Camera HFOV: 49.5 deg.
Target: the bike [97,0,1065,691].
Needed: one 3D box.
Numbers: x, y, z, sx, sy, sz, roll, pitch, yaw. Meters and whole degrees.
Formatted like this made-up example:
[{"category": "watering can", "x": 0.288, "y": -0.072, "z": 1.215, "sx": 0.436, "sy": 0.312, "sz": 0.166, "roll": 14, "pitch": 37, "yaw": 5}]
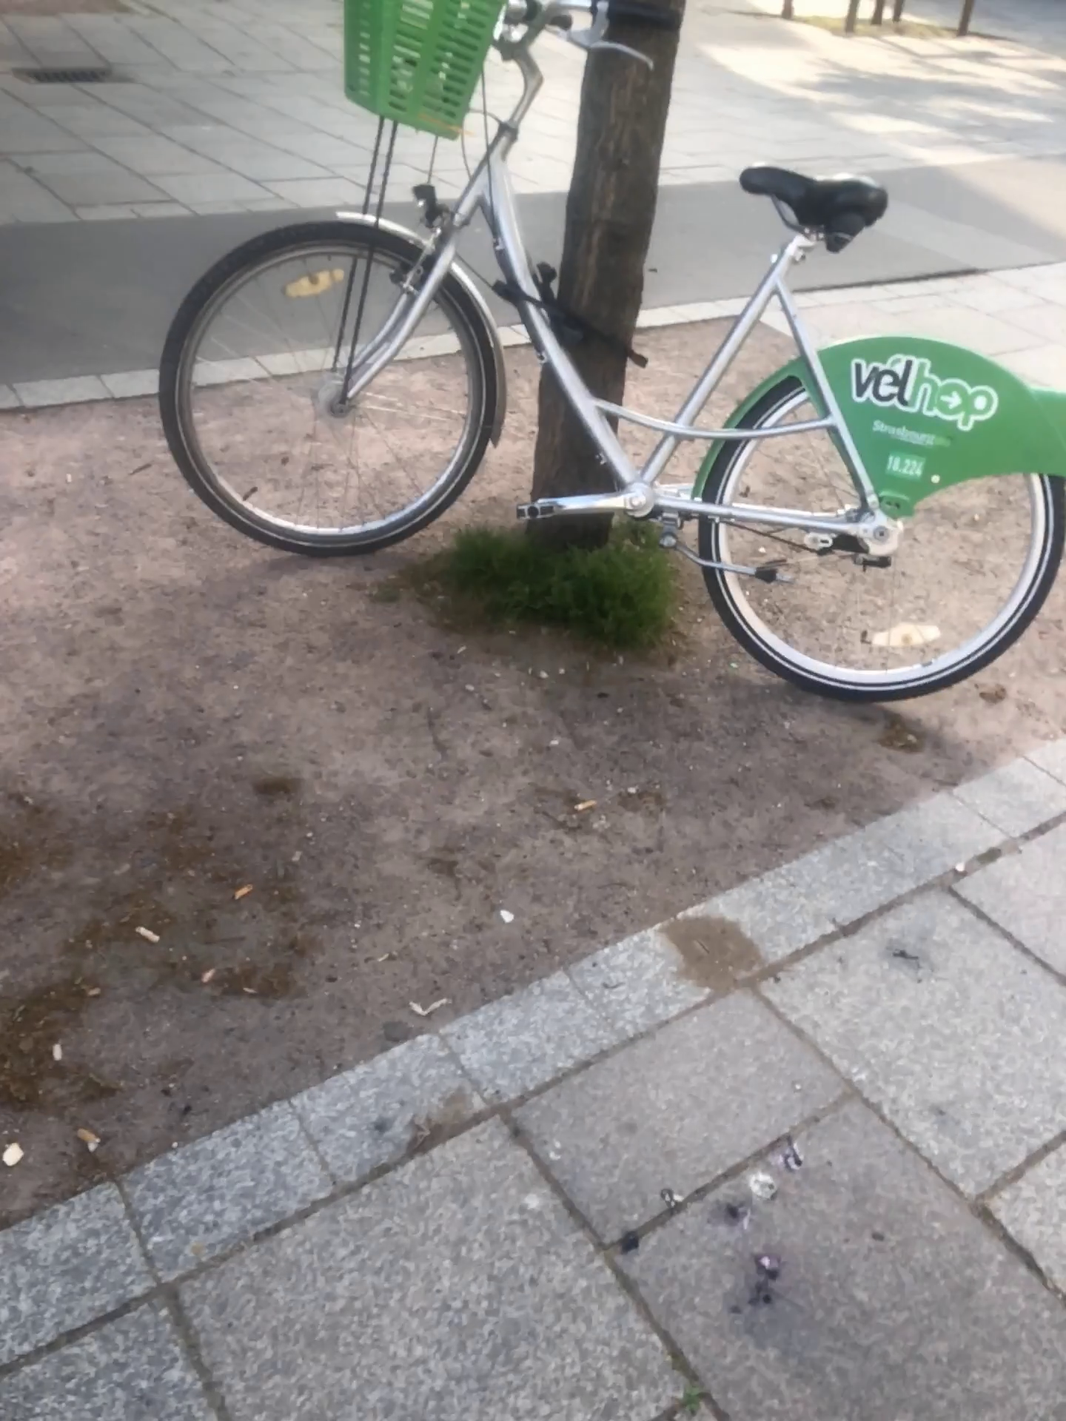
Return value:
[{"category": "bike", "x": 0.203, "y": -0.734, "z": 2.177, "sx": 1.718, "sy": 1.114, "sz": 0.313, "roll": 9, "pitch": 36, "yaw": -1}]
